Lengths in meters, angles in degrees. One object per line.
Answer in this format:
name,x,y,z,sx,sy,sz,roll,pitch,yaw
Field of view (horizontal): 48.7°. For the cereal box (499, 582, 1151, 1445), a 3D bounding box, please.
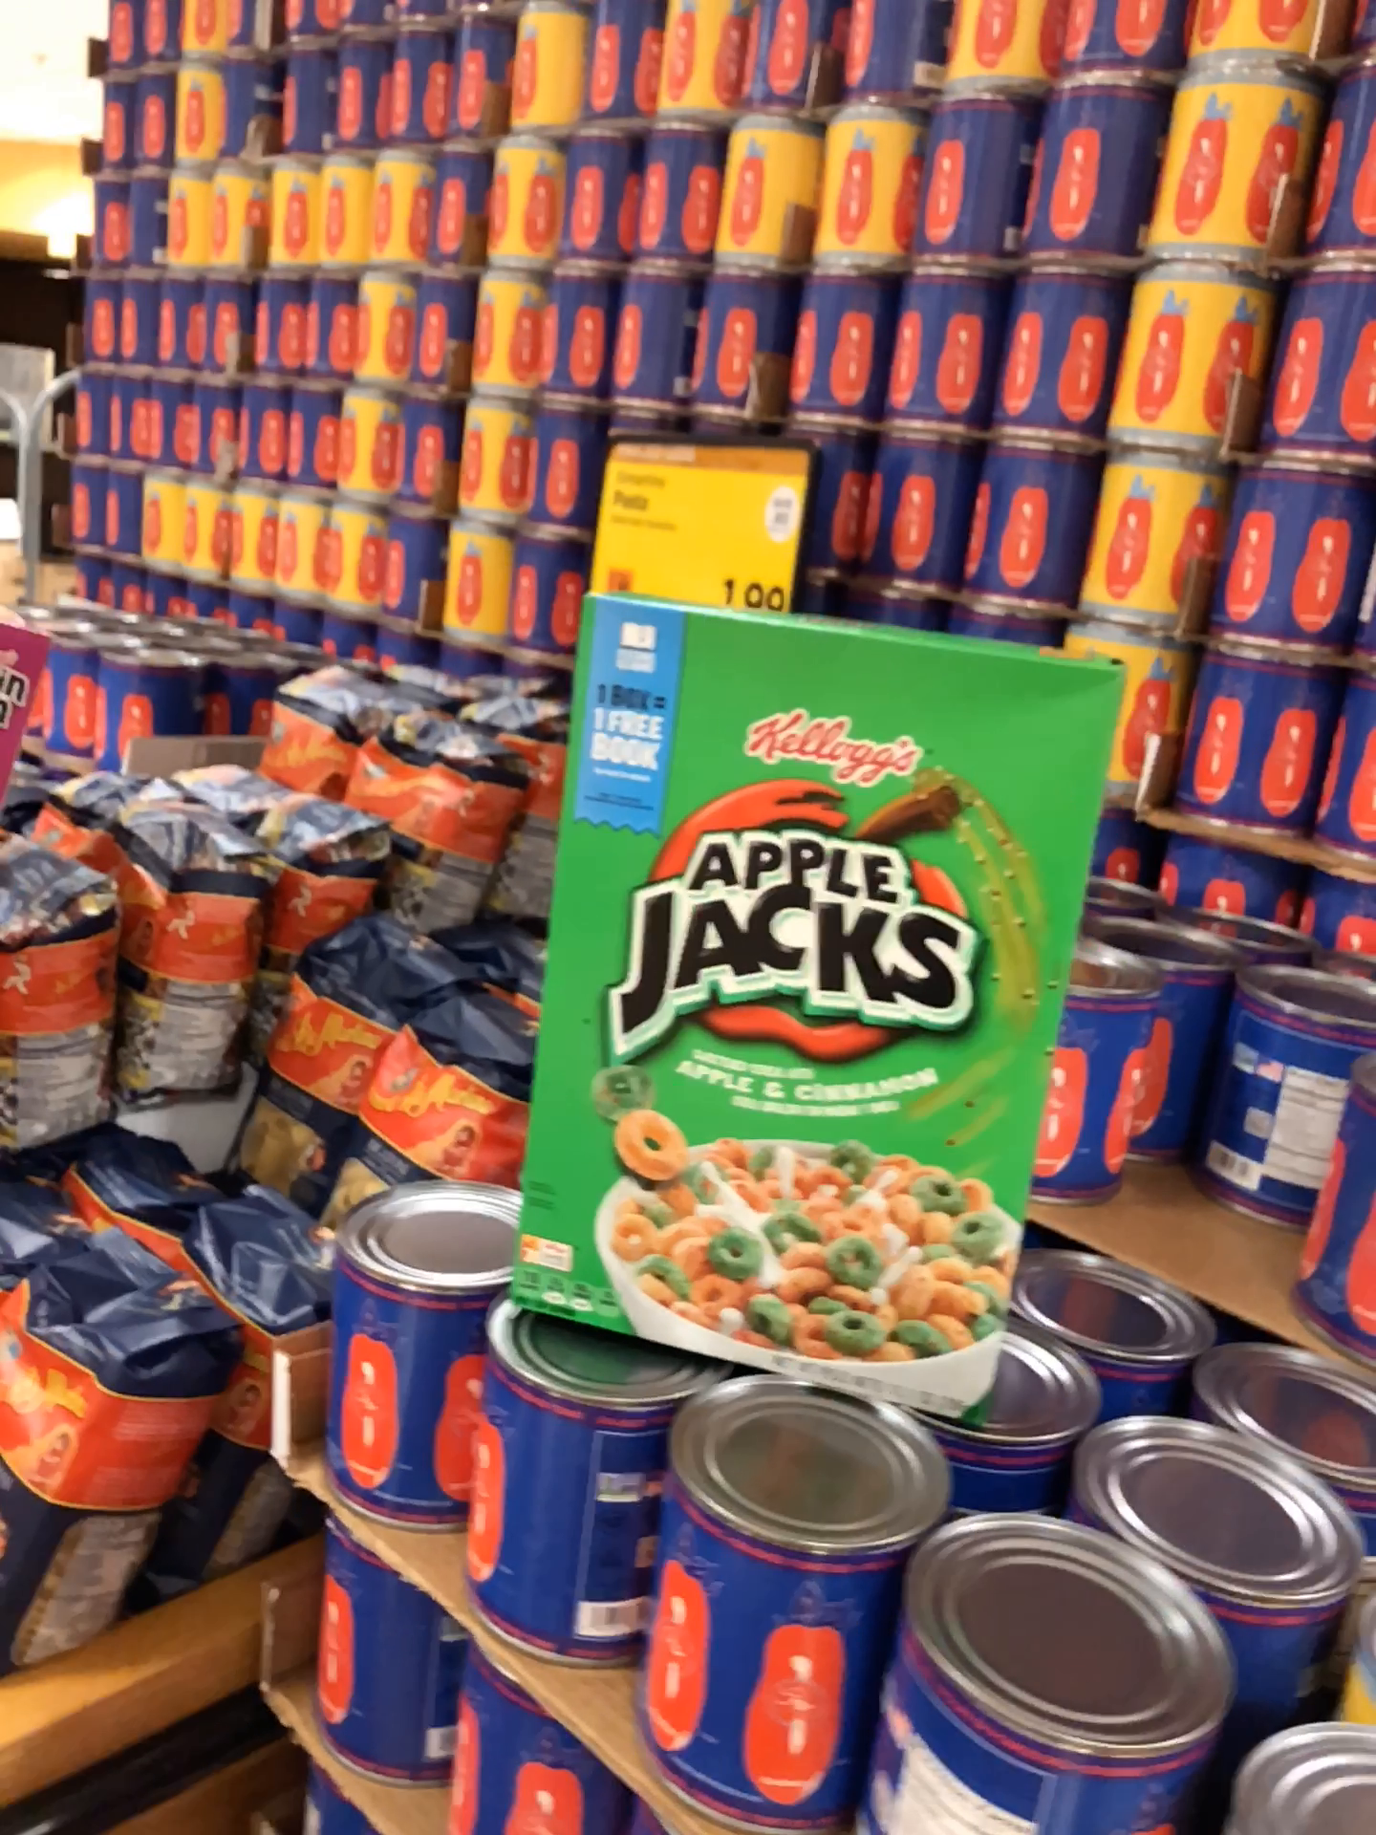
cereal box,0.046,0.032,0.583,0.200,0.289,0.060,11,14,14
